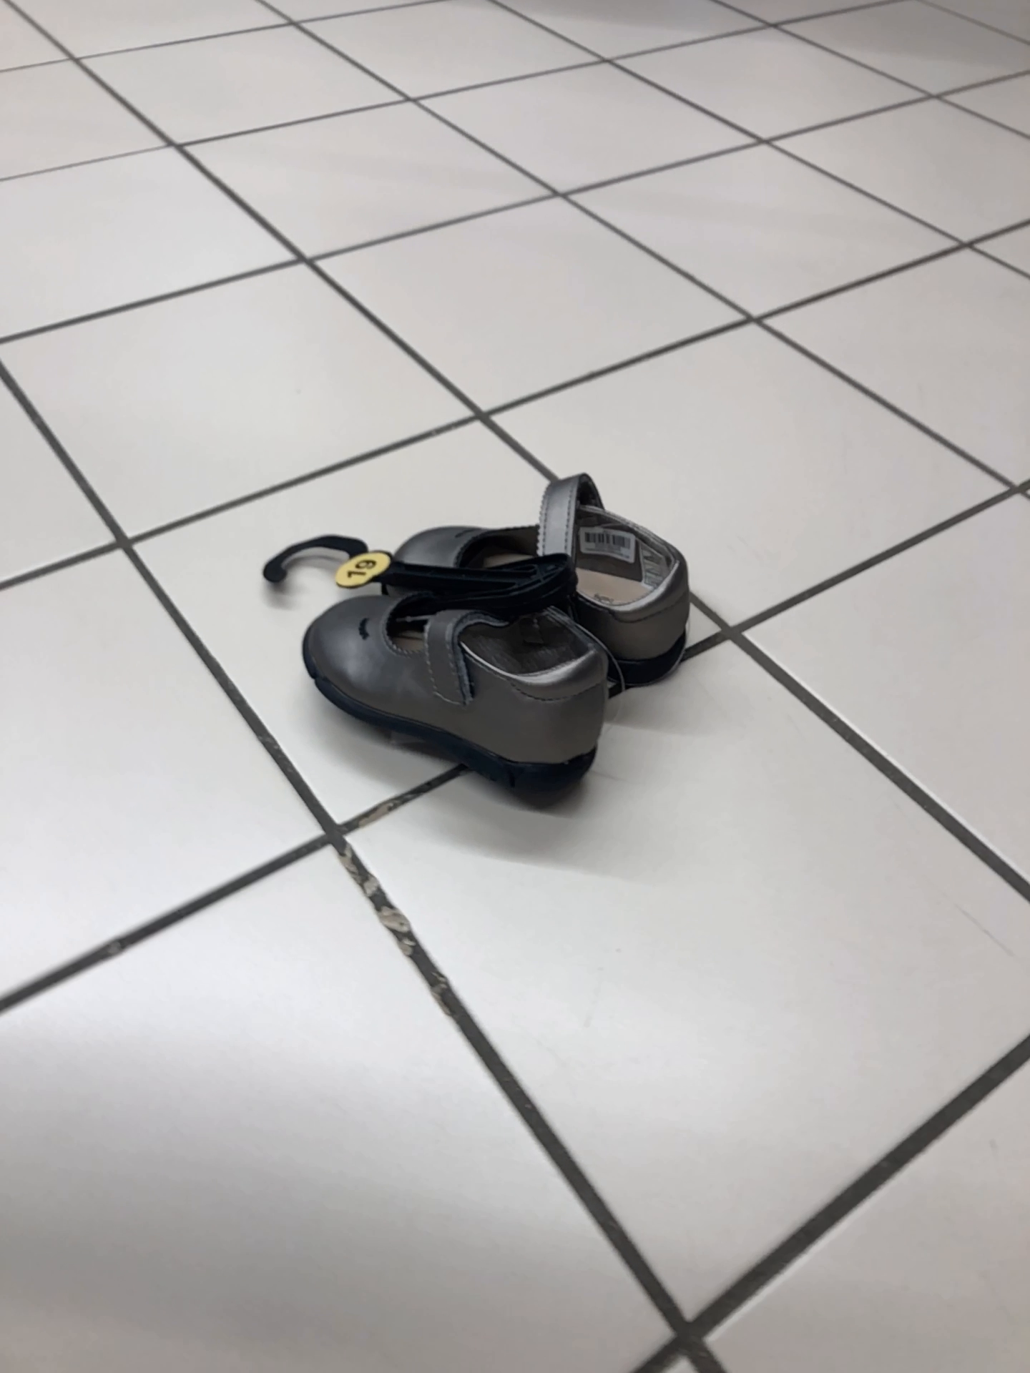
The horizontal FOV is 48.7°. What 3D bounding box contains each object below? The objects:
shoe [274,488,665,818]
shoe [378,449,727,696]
[{"bbox_3d":[-0.020,-0.018,0.445,0.129,0.061,0.068,26,36,19],"label":"shoe"},{"bbox_3d":[0.016,-0.051,0.492,0.134,0.047,0.059,17,47,12],"label":"shoe"}]
